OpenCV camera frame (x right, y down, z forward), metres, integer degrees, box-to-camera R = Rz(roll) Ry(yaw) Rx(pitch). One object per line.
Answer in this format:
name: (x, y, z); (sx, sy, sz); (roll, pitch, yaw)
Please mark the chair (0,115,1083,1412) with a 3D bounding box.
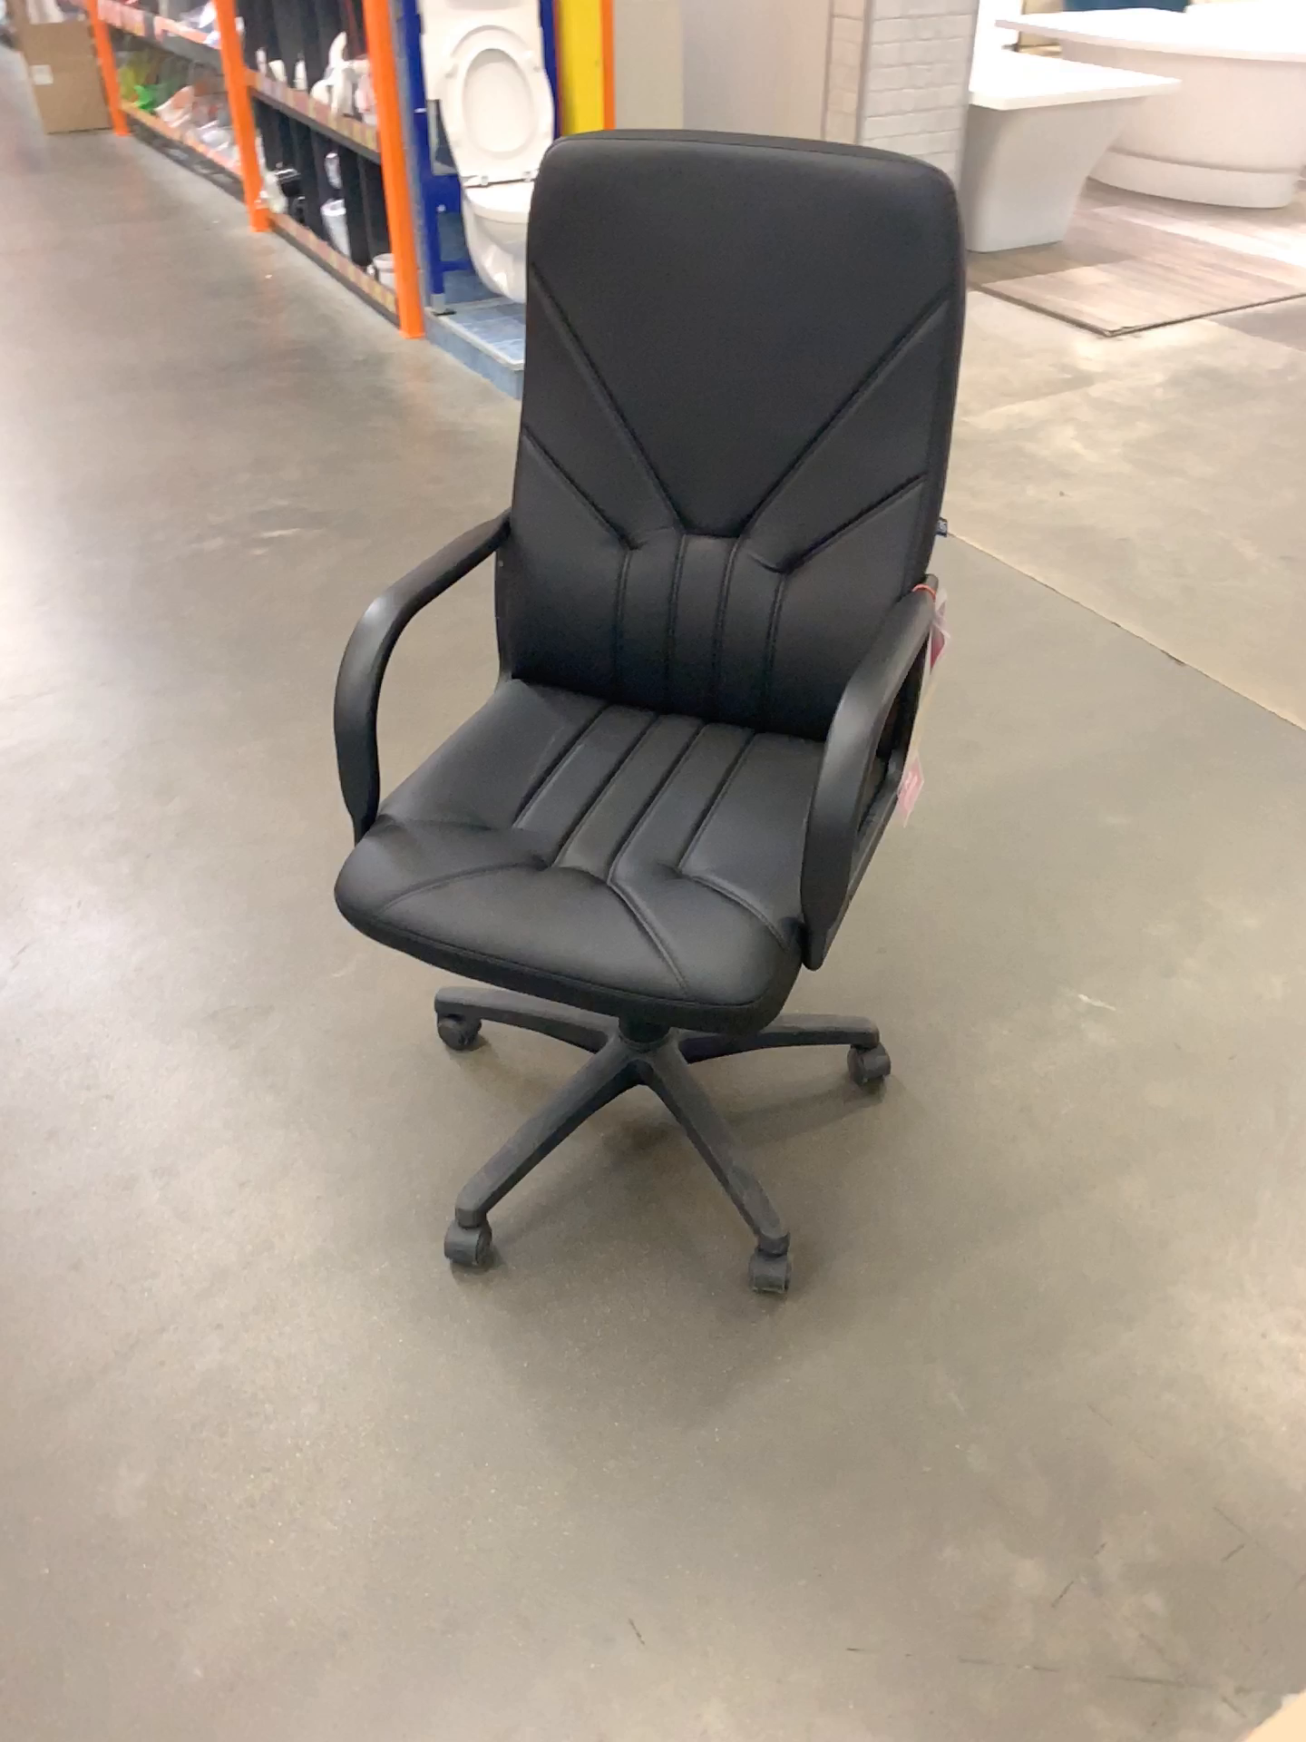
chair: (-0.019, -0.157, 1.499); (0.671, 1.085, 0.813); (14, 39, 18)
